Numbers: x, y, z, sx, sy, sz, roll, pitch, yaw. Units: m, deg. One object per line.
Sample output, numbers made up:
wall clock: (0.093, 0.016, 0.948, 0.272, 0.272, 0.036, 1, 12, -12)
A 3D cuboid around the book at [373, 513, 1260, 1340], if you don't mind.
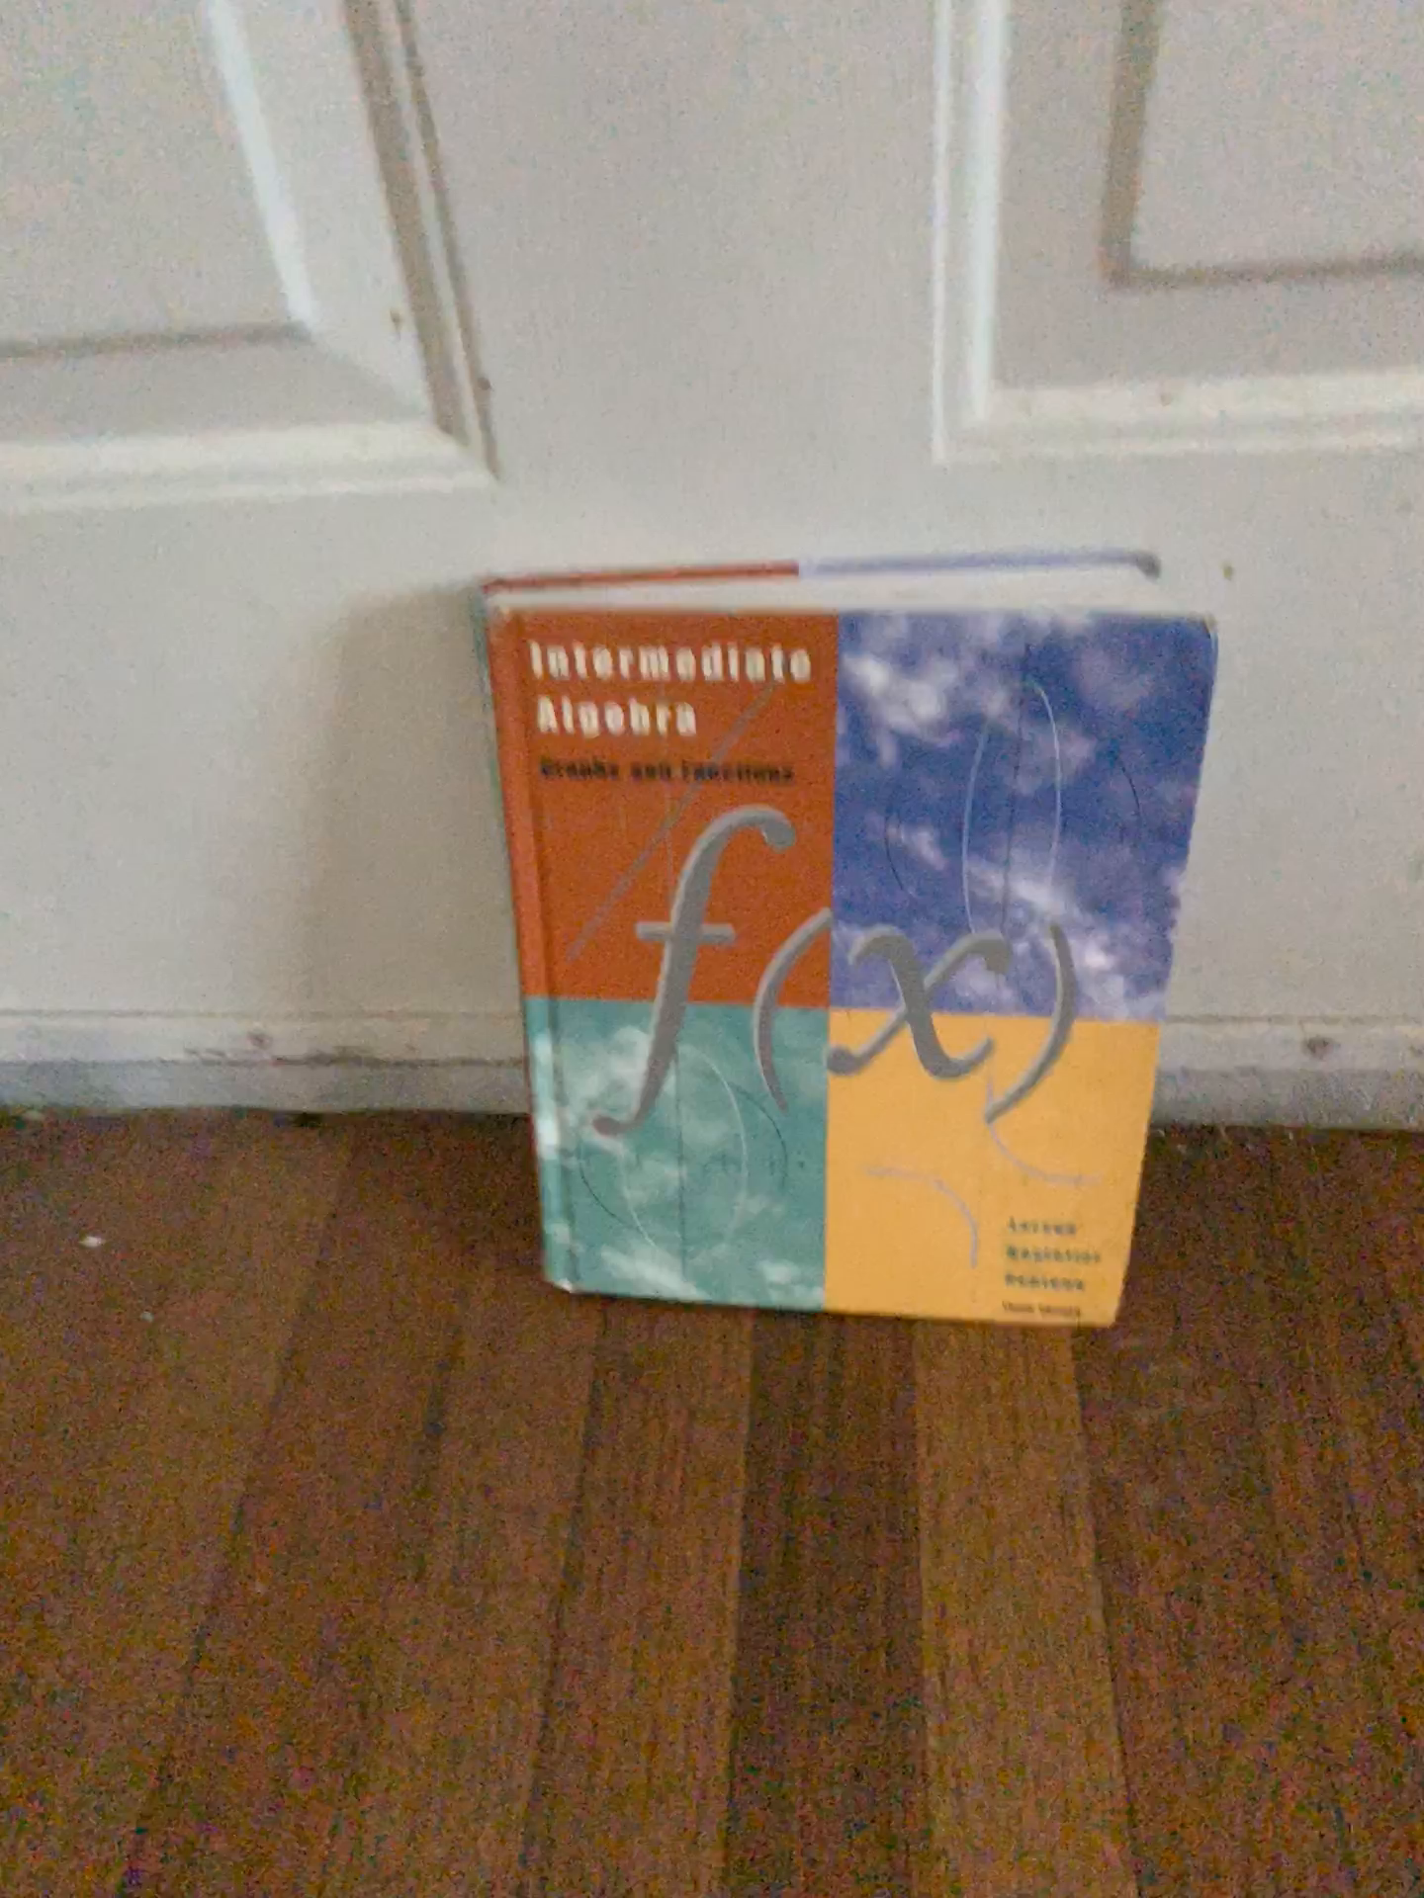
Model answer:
book: (0.034, 0.000, 0.460, 0.230, 0.249, 0.060, 1, 28, 10)
